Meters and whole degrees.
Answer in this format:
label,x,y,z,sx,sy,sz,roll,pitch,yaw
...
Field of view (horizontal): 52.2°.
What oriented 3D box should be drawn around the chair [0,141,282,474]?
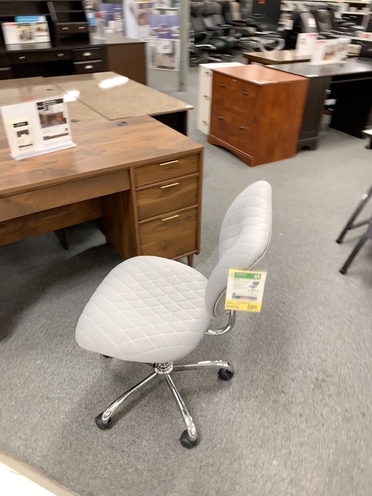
label,x,y,z,sx,sy,sz,roll,pitch,yaw
chair,-0.077,0.182,1.367,0.640,0.875,0.633,11,36,13
